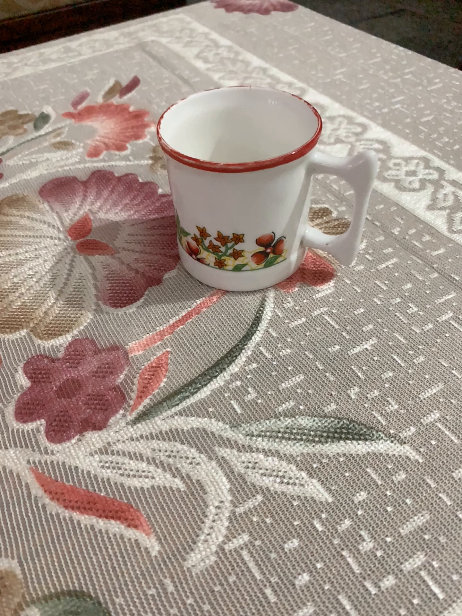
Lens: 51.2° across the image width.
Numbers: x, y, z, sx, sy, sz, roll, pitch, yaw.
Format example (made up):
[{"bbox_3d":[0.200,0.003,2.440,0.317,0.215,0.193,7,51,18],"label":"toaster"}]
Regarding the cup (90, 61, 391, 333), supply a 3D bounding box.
[{"bbox_3d":[0.008,-0.052,0.218,0.100,0.080,0.070,14,50,16],"label":"cup"}]
